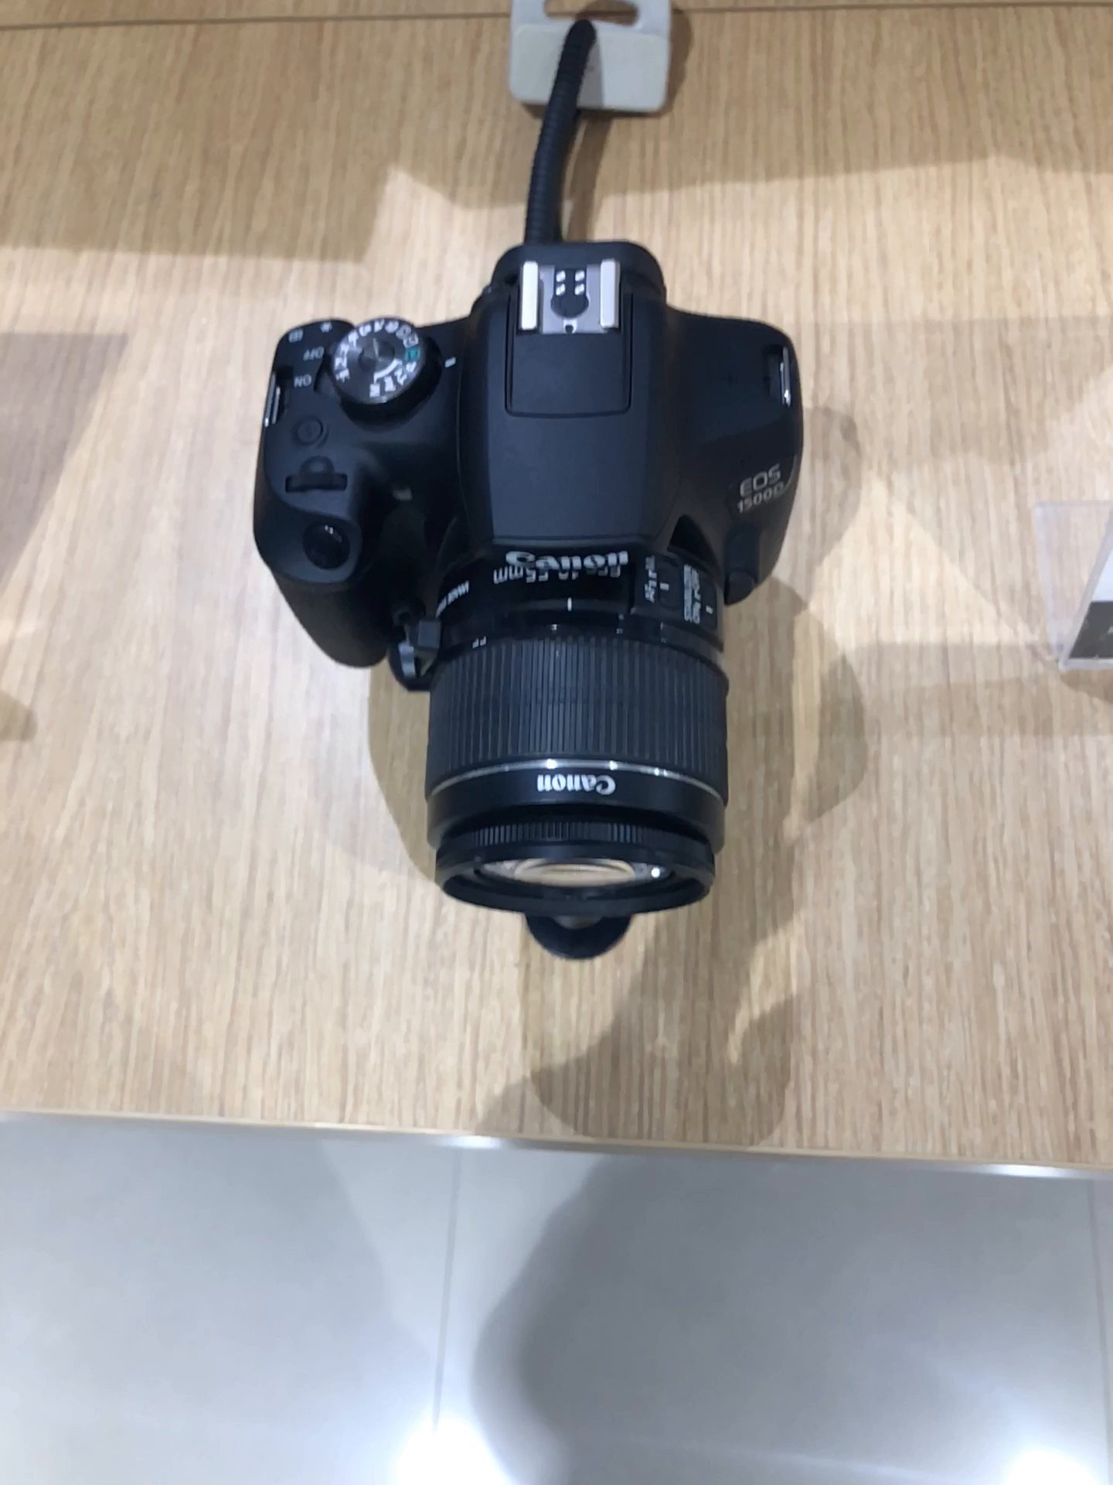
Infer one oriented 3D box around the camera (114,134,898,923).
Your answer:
[{"bbox_3d":[-0.002,-0.042,0.271,0.130,0.090,0.140,2,69,5],"label":"camera"}]
